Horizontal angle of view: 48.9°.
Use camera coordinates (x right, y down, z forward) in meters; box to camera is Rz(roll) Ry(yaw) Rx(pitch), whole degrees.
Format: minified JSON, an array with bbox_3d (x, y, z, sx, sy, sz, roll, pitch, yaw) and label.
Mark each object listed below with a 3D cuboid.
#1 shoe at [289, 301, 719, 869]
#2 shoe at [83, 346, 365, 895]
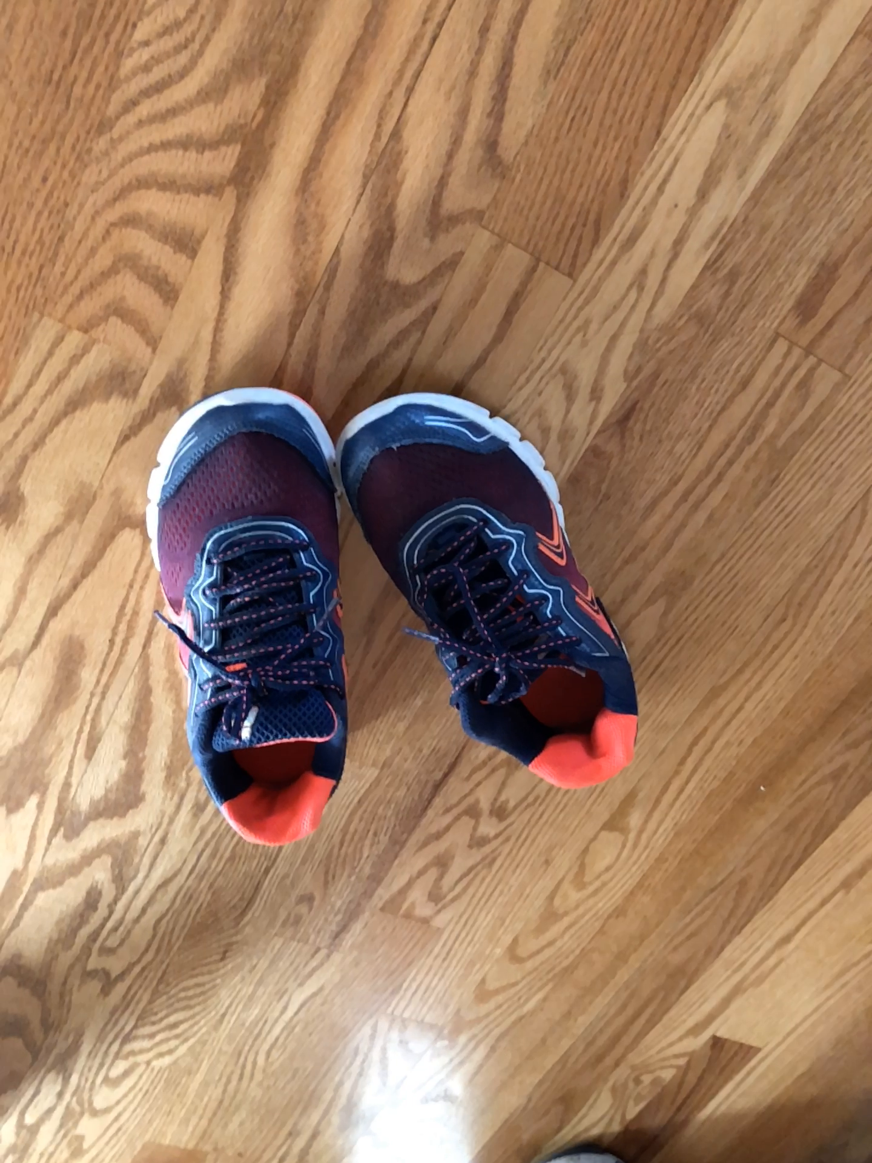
[{"bbox_3d":[0.041,0.010,0.529,0.116,0.109,0.278,-27,120,6],"label":"shoe"},{"bbox_3d":[-0.100,0.024,0.515,0.108,0.109,0.270,-4,119,-7],"label":"shoe"}]
